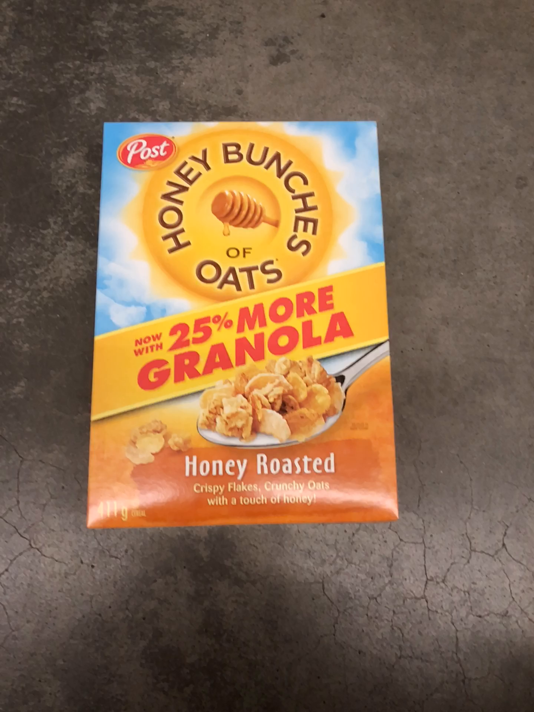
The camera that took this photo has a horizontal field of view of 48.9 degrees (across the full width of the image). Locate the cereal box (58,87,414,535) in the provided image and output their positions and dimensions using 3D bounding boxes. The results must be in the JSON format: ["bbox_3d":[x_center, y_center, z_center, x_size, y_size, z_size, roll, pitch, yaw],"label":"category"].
[{"bbox_3d":[-0.020,-0.031,0.398,0.210,0.060,0.280,0,81,-5],"label":"cereal box"}]
